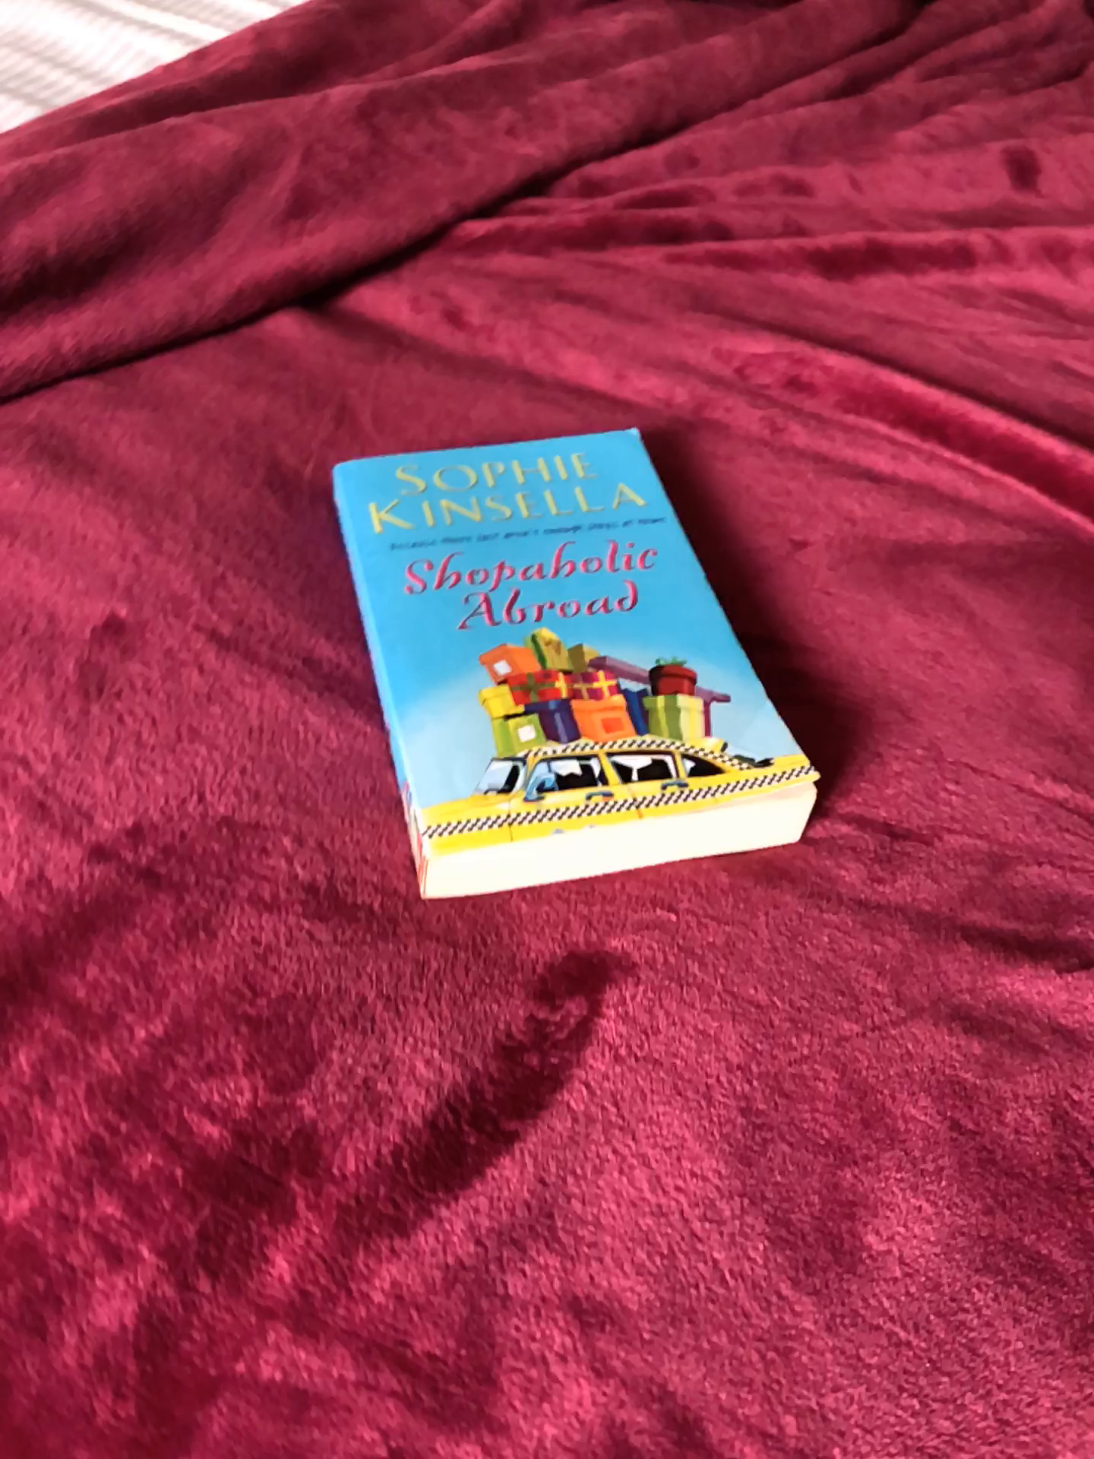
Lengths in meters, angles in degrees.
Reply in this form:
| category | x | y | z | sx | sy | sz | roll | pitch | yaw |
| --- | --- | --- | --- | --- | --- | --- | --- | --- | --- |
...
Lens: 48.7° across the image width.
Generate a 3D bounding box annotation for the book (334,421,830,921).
| category | x | y | z | sx | sy | sz | roll | pitch | yaw |
| --- | --- | --- | --- | --- | --- | --- | --- | --- | --- |
| book | 0.001 | -0.035 | 0.445 | 0.129 | 0.035 | 0.201 | -8 | 50 | -12 |
